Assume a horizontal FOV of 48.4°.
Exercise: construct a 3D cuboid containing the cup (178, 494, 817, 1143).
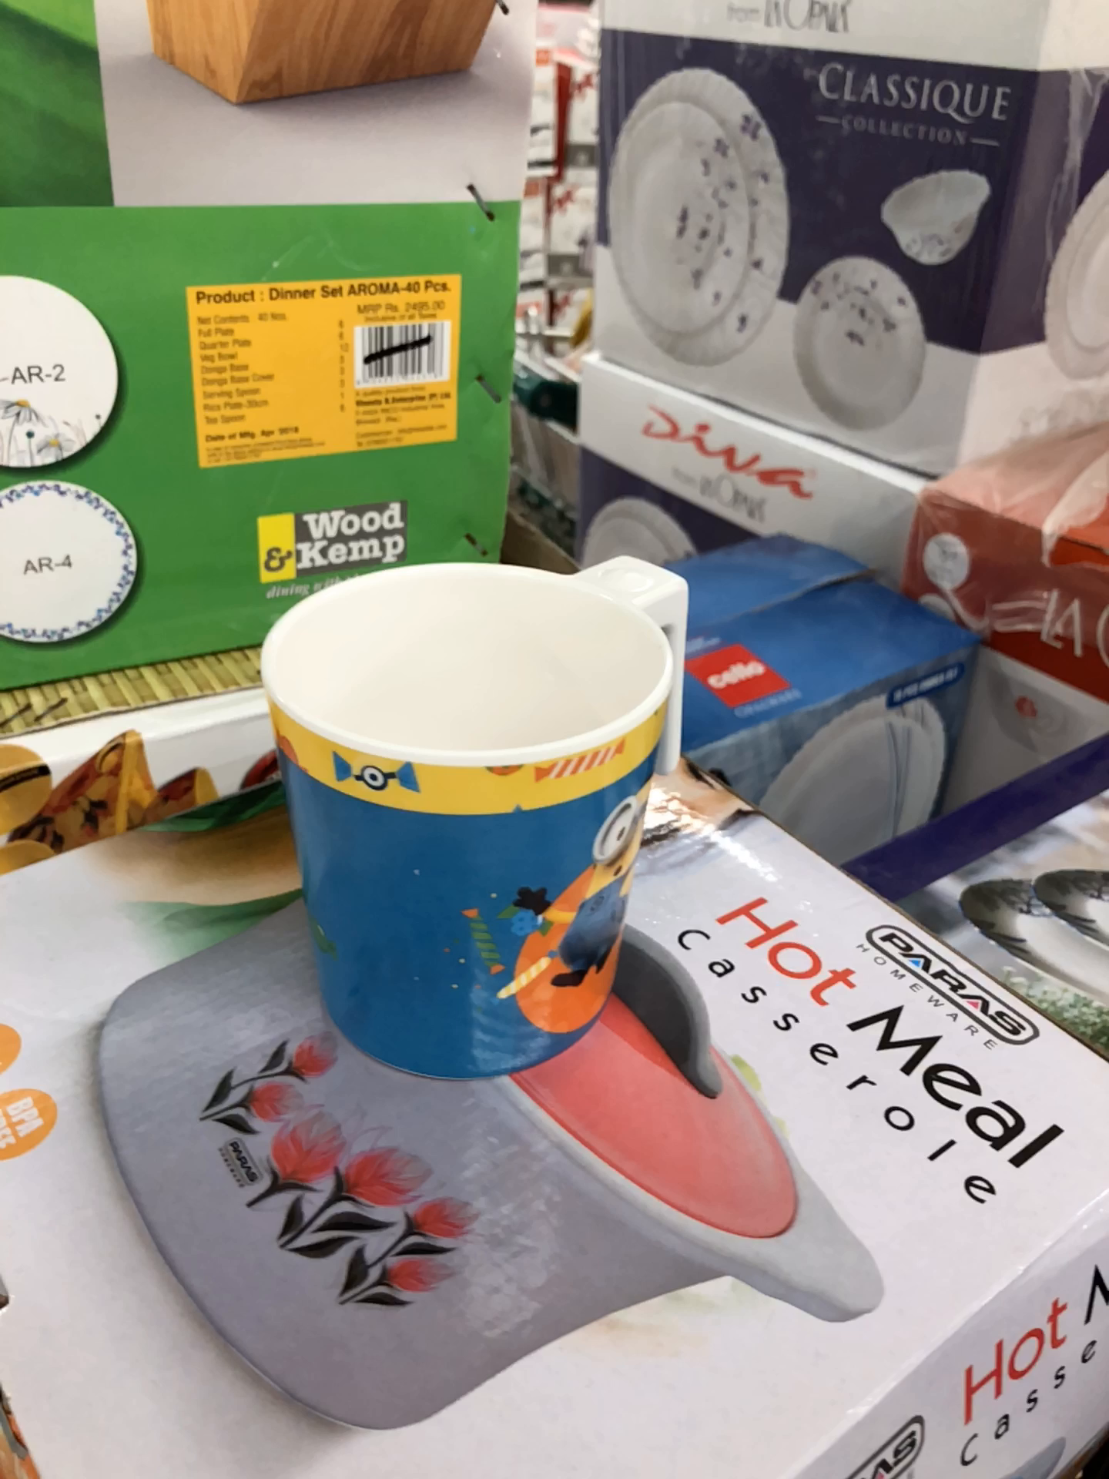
[{"bbox_3d":[-0.009,0.008,0.277,0.080,0.079,0.111,24,39,30],"label":"cup"}]
